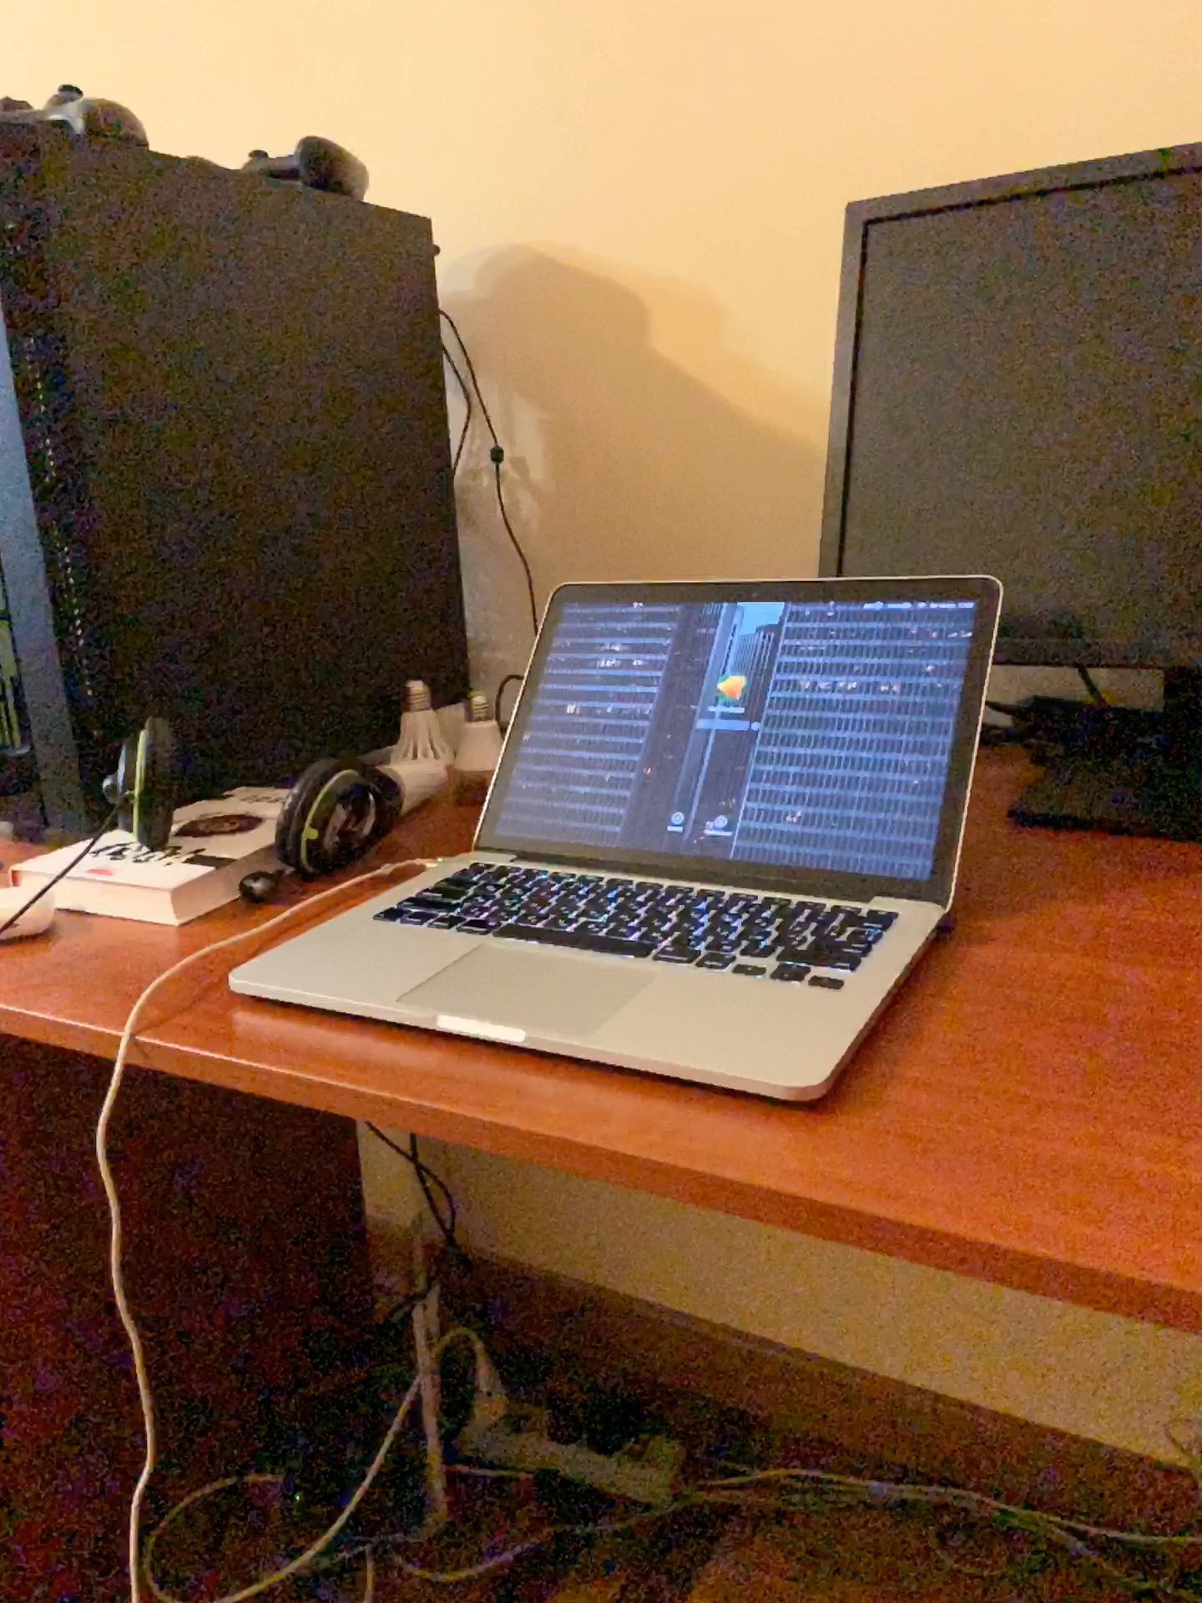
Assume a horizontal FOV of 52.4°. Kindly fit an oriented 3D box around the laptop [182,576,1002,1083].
[{"bbox_3d":[0.025,-0.023,0.661,0.300,0.155,0.341,5,17,28],"label":"laptop"}]
